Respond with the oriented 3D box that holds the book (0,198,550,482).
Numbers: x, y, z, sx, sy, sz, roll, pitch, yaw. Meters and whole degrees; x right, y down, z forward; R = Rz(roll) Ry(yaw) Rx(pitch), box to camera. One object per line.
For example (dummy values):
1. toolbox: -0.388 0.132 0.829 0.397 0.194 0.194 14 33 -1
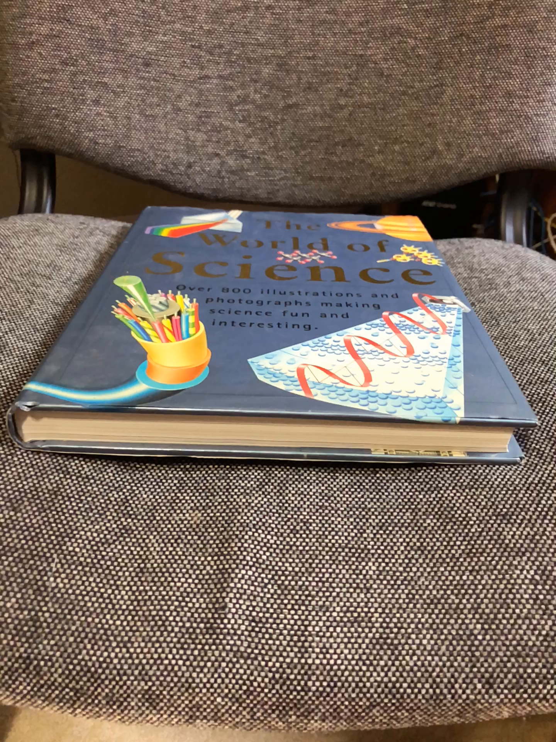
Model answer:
1. book: -0.002 -0.043 0.372 0.220 0.030 0.277 2 32 -2
